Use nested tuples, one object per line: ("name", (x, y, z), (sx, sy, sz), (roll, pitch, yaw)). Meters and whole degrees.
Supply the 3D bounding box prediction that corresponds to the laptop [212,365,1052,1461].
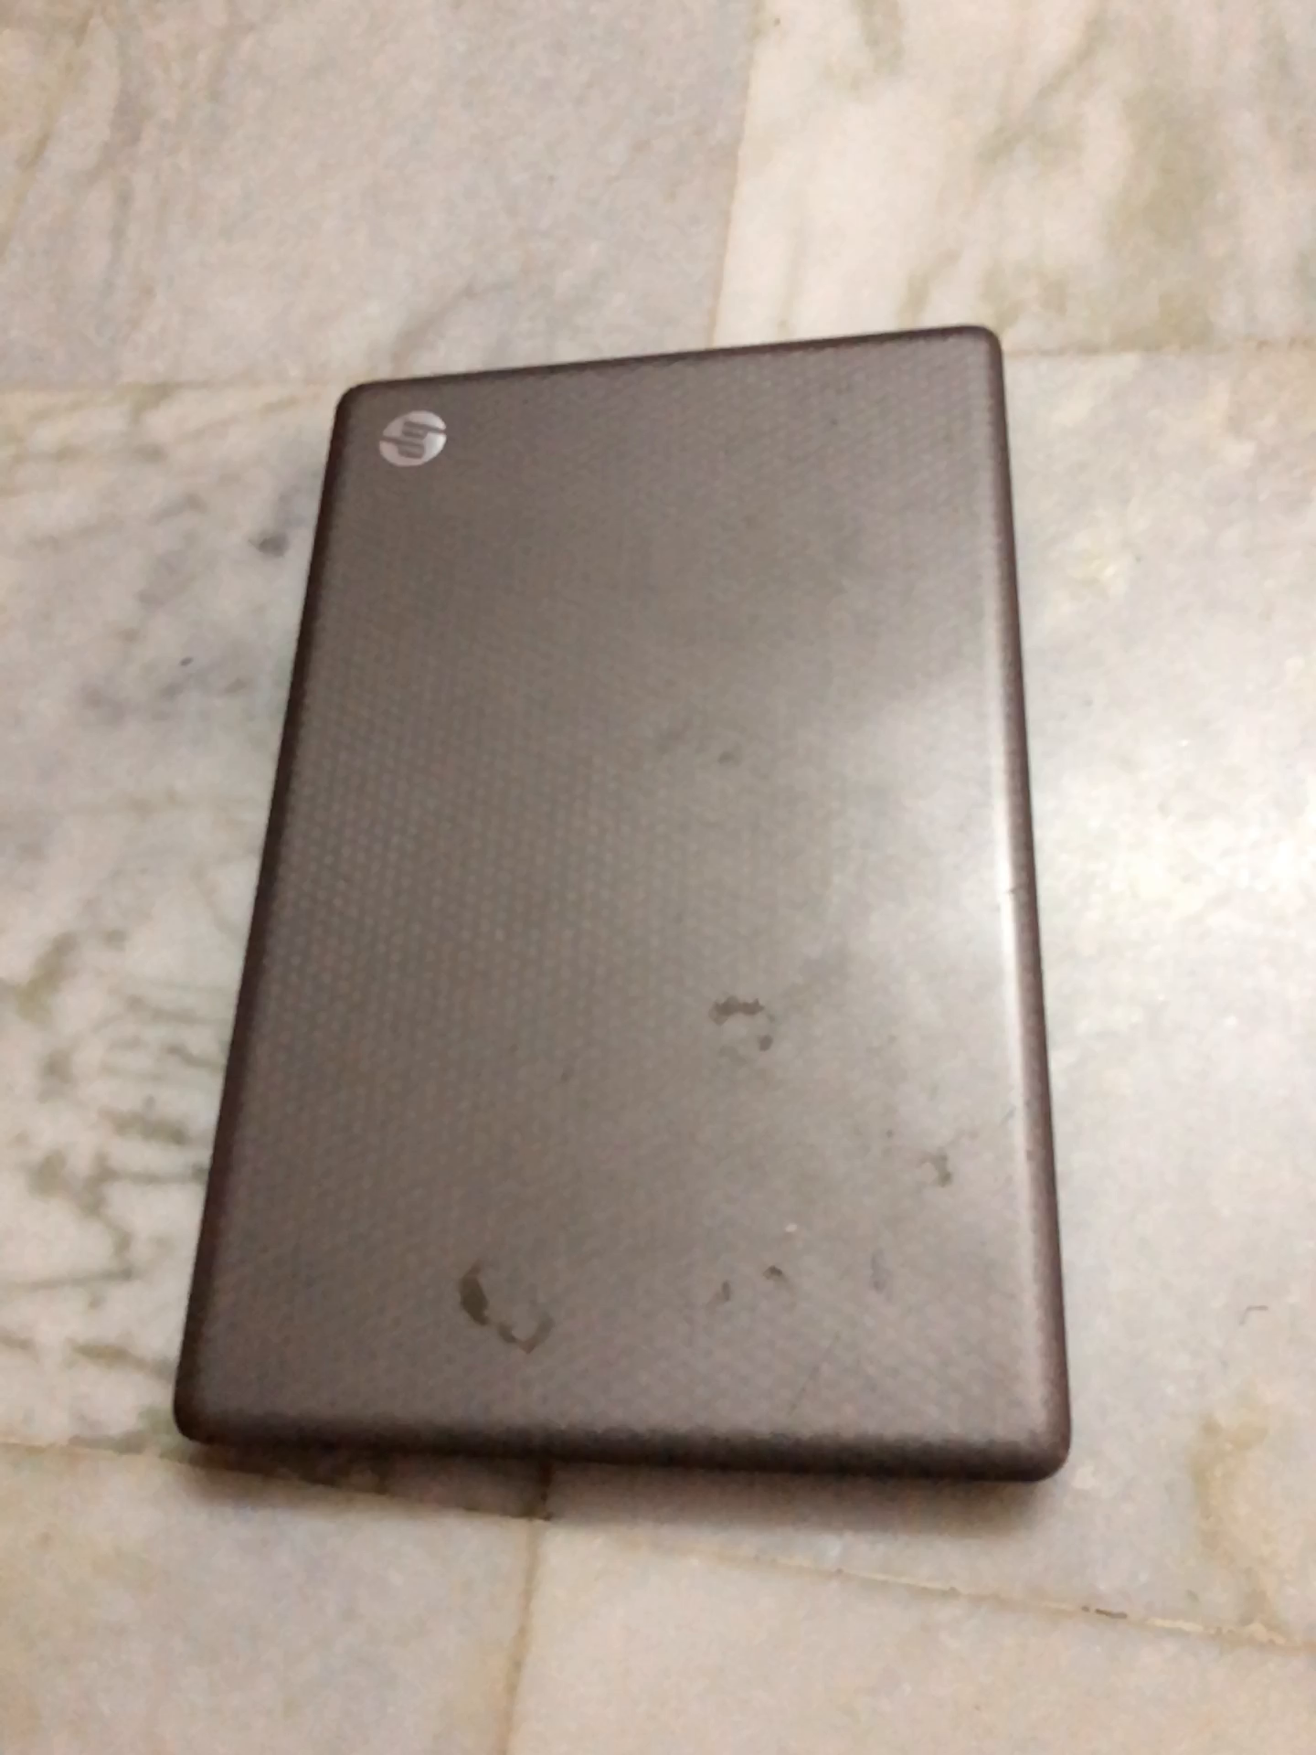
("laptop", (-0.004, -0.012, 0.495), (0.248, 0.002, 0.378), (-1, 67, 11))
